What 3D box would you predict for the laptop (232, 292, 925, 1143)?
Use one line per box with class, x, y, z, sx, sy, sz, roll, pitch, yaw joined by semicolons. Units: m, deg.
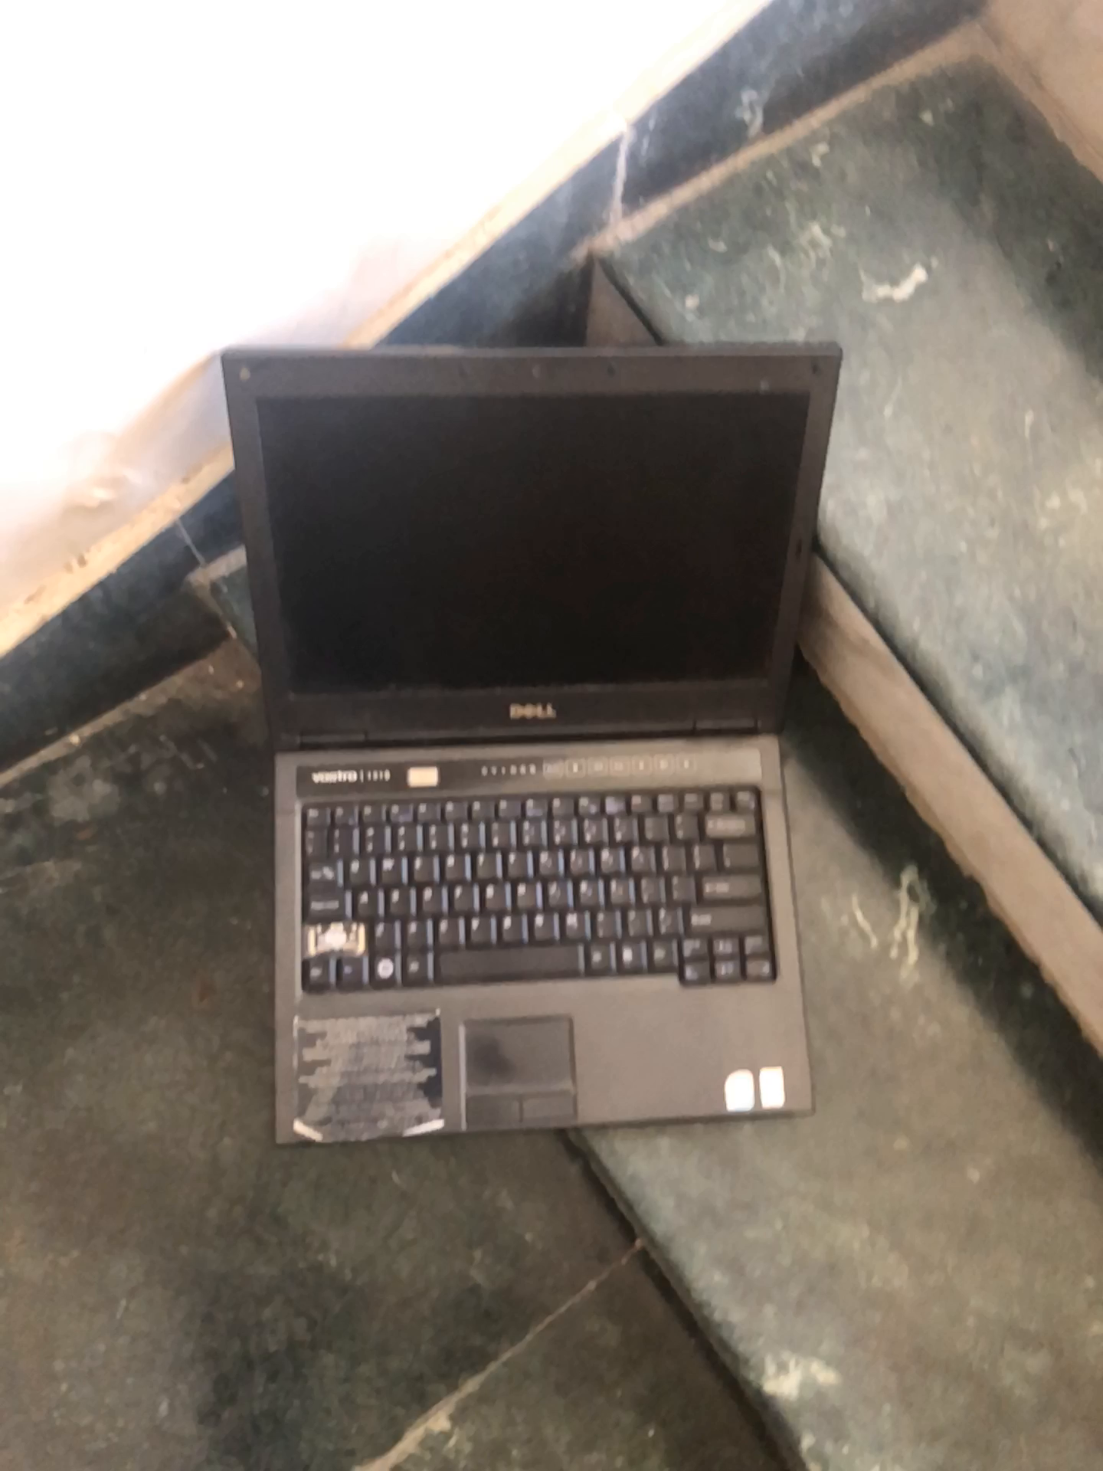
laptop;0.000;-0.006;0.642;0.302;0.169;0.386;-1;80;-6
